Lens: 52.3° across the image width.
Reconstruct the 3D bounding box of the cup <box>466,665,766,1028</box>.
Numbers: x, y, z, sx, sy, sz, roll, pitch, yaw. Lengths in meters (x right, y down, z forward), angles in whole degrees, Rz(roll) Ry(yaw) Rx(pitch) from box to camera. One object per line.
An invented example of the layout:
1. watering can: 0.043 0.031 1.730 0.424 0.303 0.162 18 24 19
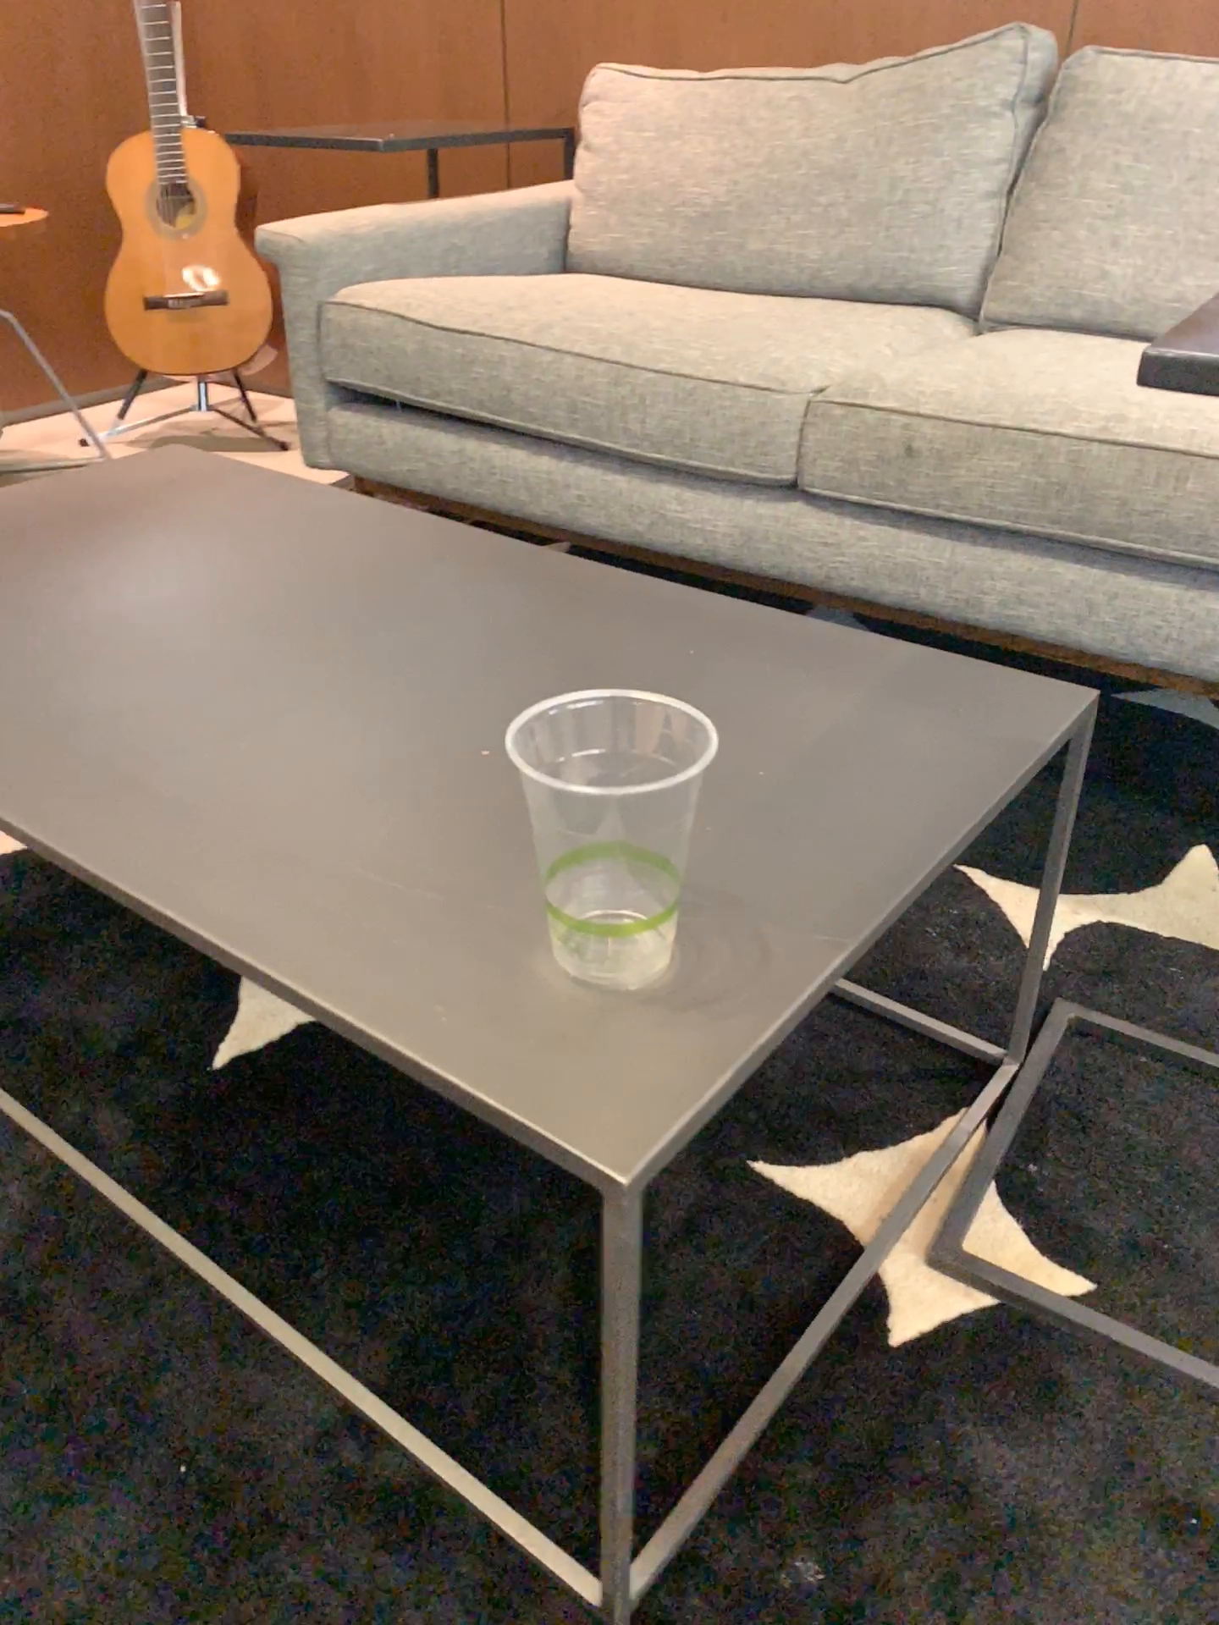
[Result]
1. cup: 0.003 0.011 0.552 0.090 0.109 0.090 0 31 0
